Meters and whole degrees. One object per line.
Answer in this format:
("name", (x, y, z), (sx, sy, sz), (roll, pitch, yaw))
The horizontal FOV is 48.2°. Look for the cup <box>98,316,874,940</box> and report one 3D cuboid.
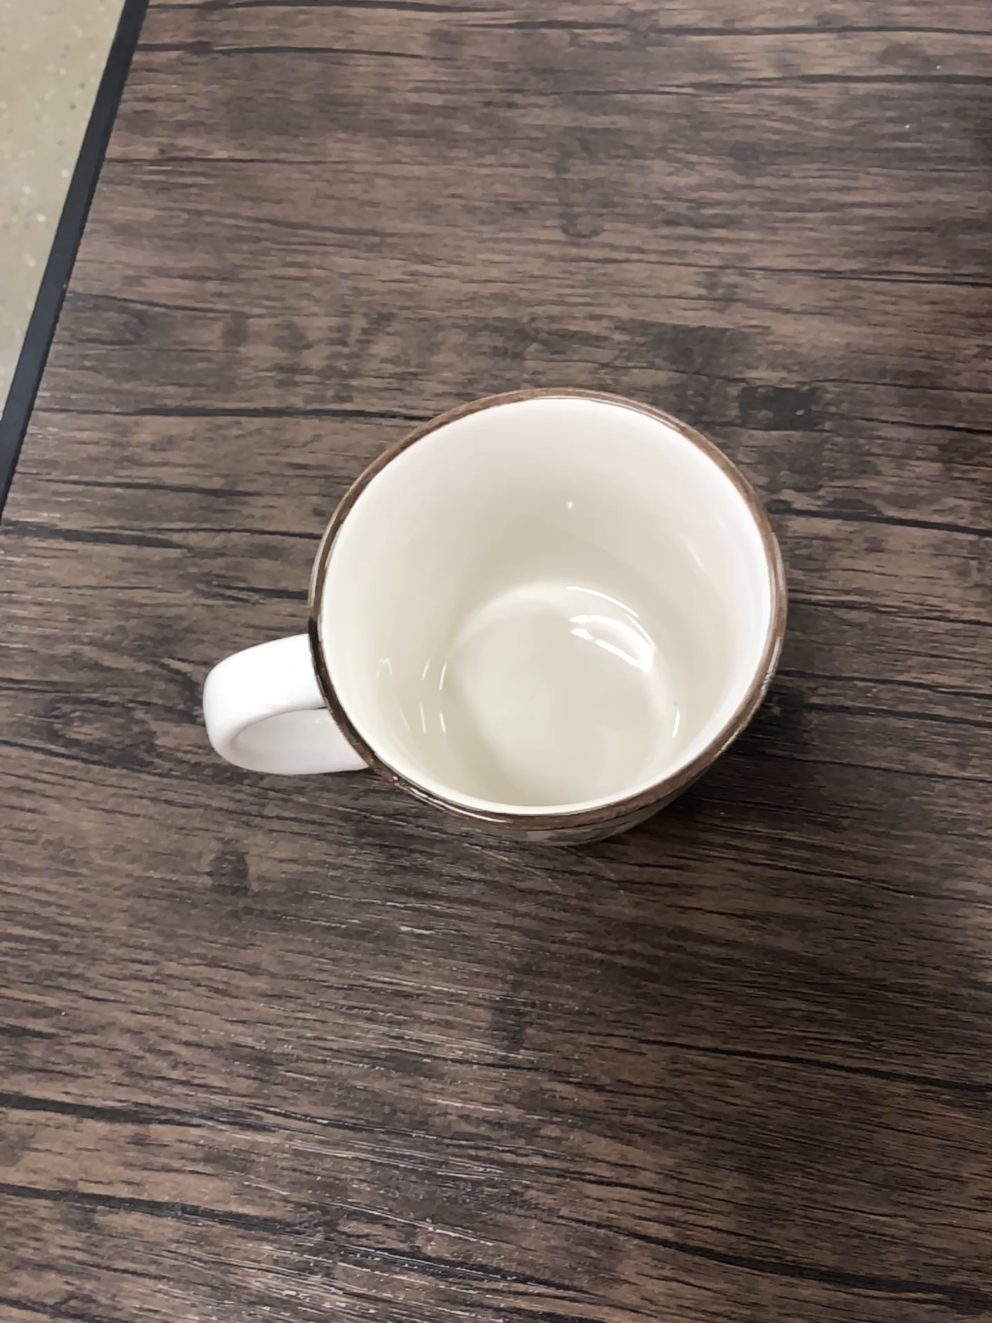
("cup", (-0.003, 0.002, 0.292), (0.150, 0.110, 0.100), (-15, 72, 2))
